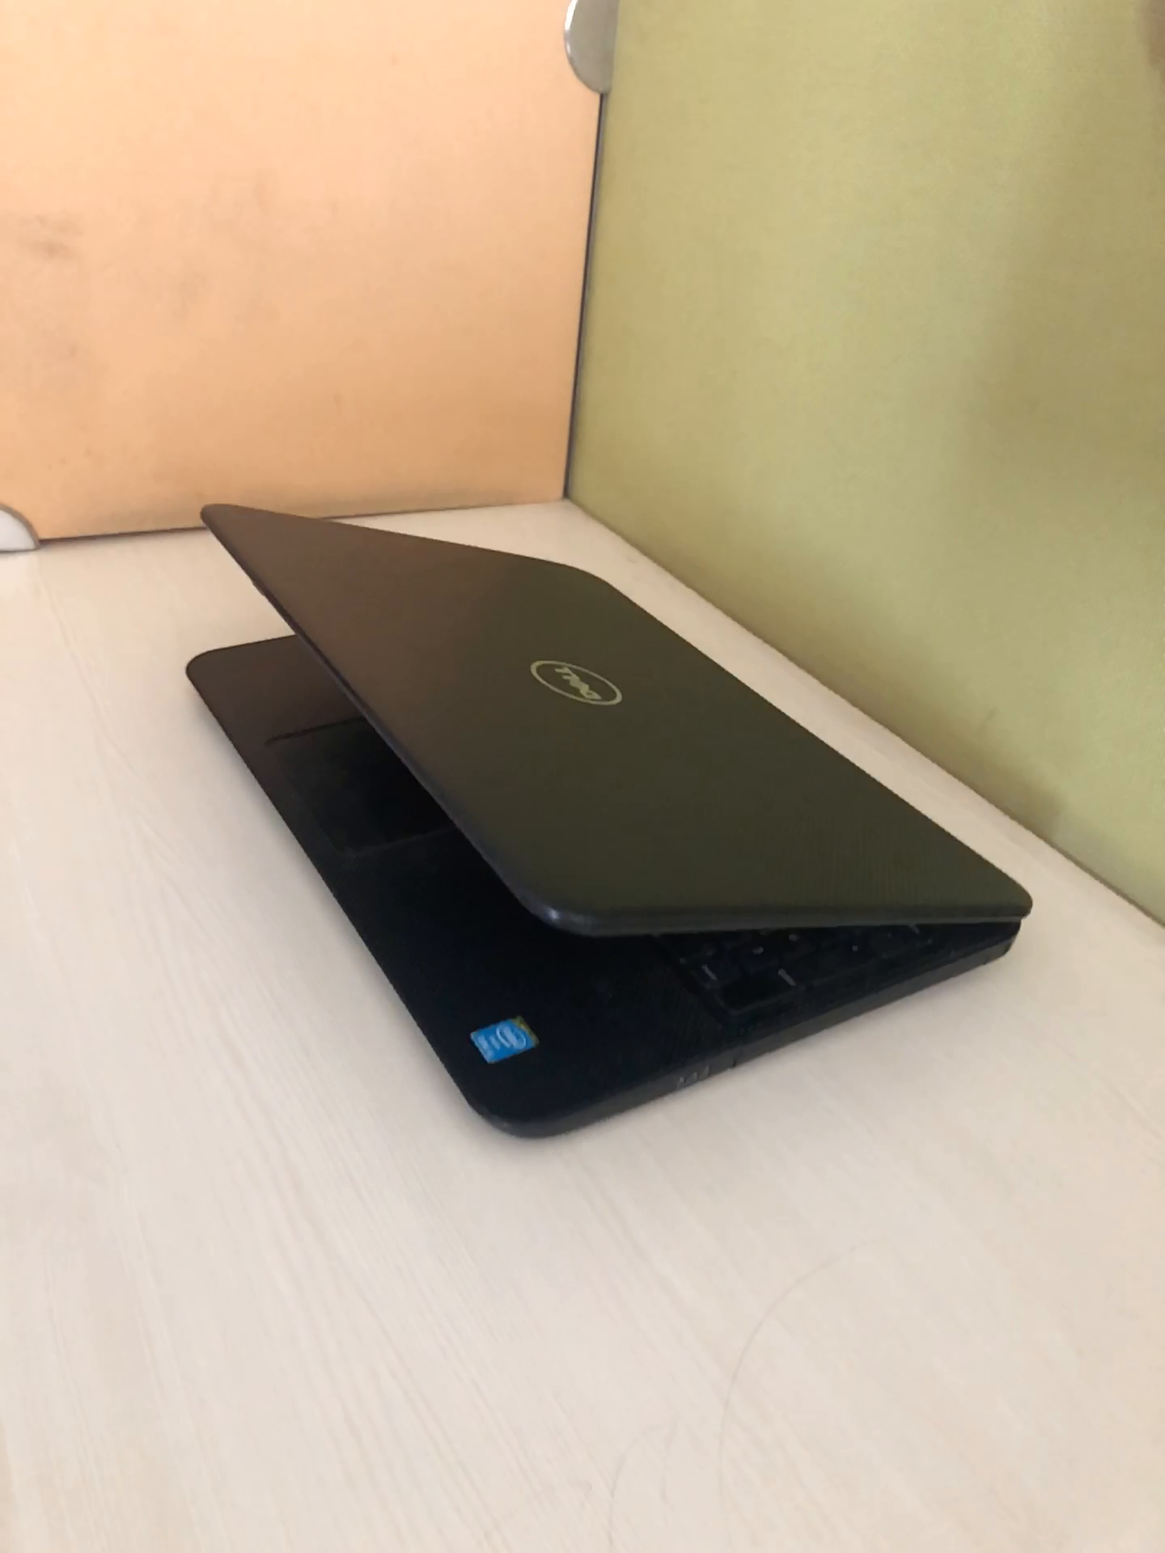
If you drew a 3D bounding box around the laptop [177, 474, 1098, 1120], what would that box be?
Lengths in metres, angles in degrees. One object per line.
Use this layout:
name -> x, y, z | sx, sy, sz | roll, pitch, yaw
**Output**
laptop -> -0.004, -0.031, 0.581 | 0.247, 0.078, 0.355 | -13, 36, -28
